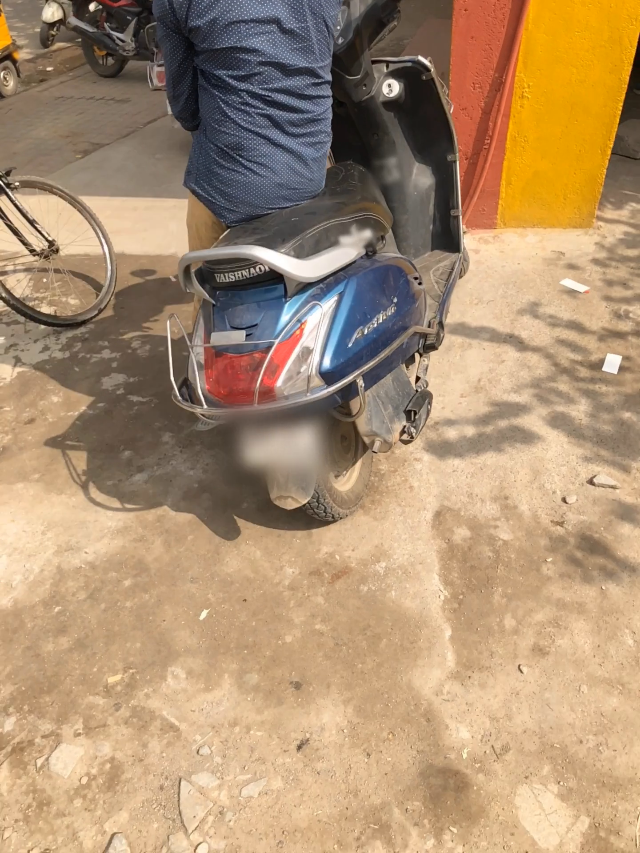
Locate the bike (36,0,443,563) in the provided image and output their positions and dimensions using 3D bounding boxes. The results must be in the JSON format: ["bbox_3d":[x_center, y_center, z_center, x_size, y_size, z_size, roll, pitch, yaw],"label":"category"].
[{"bbox_3d":[-0.033,-0.653,2.199,0.624,1.187,1.644,6,40,10],"label":"bike"}]
